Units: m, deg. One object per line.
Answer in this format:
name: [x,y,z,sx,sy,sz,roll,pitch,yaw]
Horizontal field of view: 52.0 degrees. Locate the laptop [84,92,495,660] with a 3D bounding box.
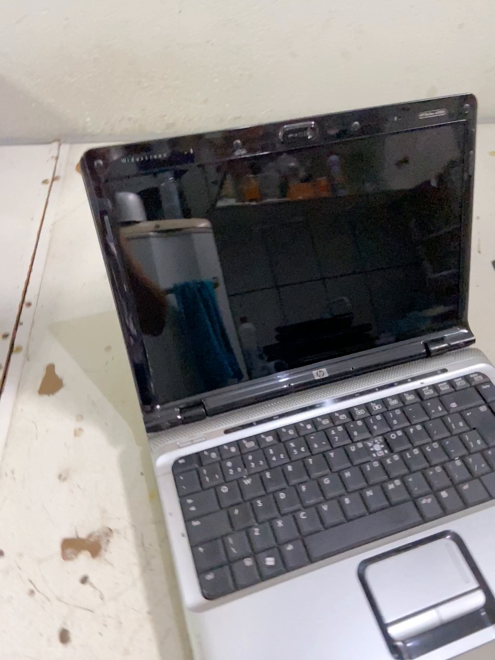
laptop: [0.088,0.024,0.362,0.321,0.193,0.335,-13,52,-12]
